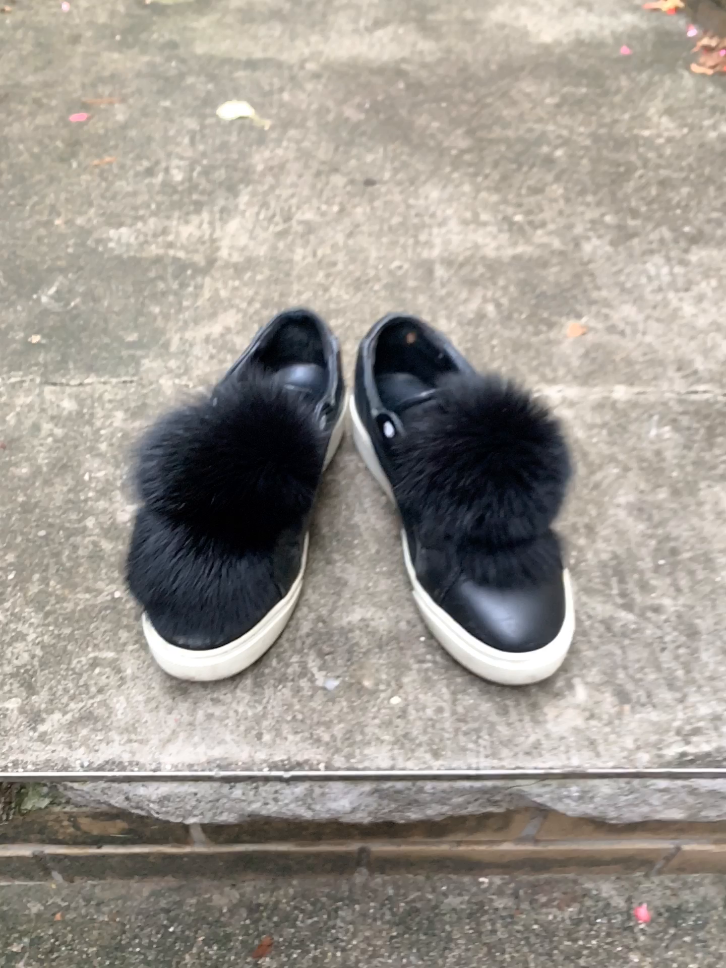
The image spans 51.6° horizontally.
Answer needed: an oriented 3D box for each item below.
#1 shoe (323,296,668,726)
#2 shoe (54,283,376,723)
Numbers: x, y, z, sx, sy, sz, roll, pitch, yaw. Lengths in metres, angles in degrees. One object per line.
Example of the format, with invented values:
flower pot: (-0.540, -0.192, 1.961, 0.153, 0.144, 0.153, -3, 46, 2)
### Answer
shoe: (0.056, 0.000, 0.452, 0.098, 0.097, 0.244, -12, 47, -14)
shoe: (-0.069, -0.007, 0.470, 0.095, 0.097, 0.270, 11, 46, 8)
